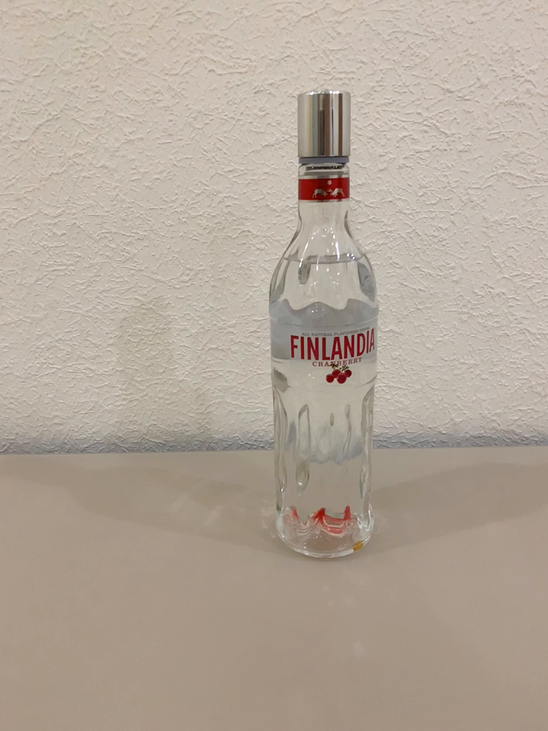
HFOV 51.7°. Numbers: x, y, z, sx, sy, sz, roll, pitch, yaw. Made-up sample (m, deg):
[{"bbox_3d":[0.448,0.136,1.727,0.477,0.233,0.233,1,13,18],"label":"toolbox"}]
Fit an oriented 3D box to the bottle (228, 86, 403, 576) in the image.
[{"bbox_3d":[0.024,-0.017,0.394,0.090,0.309,0.090,-2,18,1],"label":"bottle"}]
